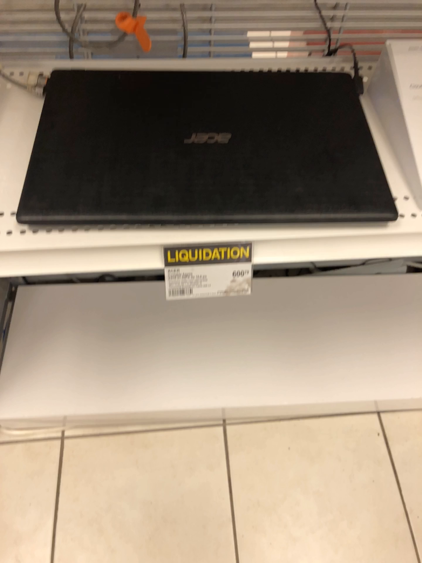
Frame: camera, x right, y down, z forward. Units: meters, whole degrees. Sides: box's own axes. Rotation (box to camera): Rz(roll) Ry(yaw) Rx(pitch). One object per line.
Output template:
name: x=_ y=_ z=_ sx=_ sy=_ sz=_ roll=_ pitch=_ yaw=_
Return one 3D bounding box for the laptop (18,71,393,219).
laptop: x=-0.003 y=-0.167 z=0.534 sx=0.374 sy=0.003 sz=0.248 roll=-1 pitch=56 yaw=-4
